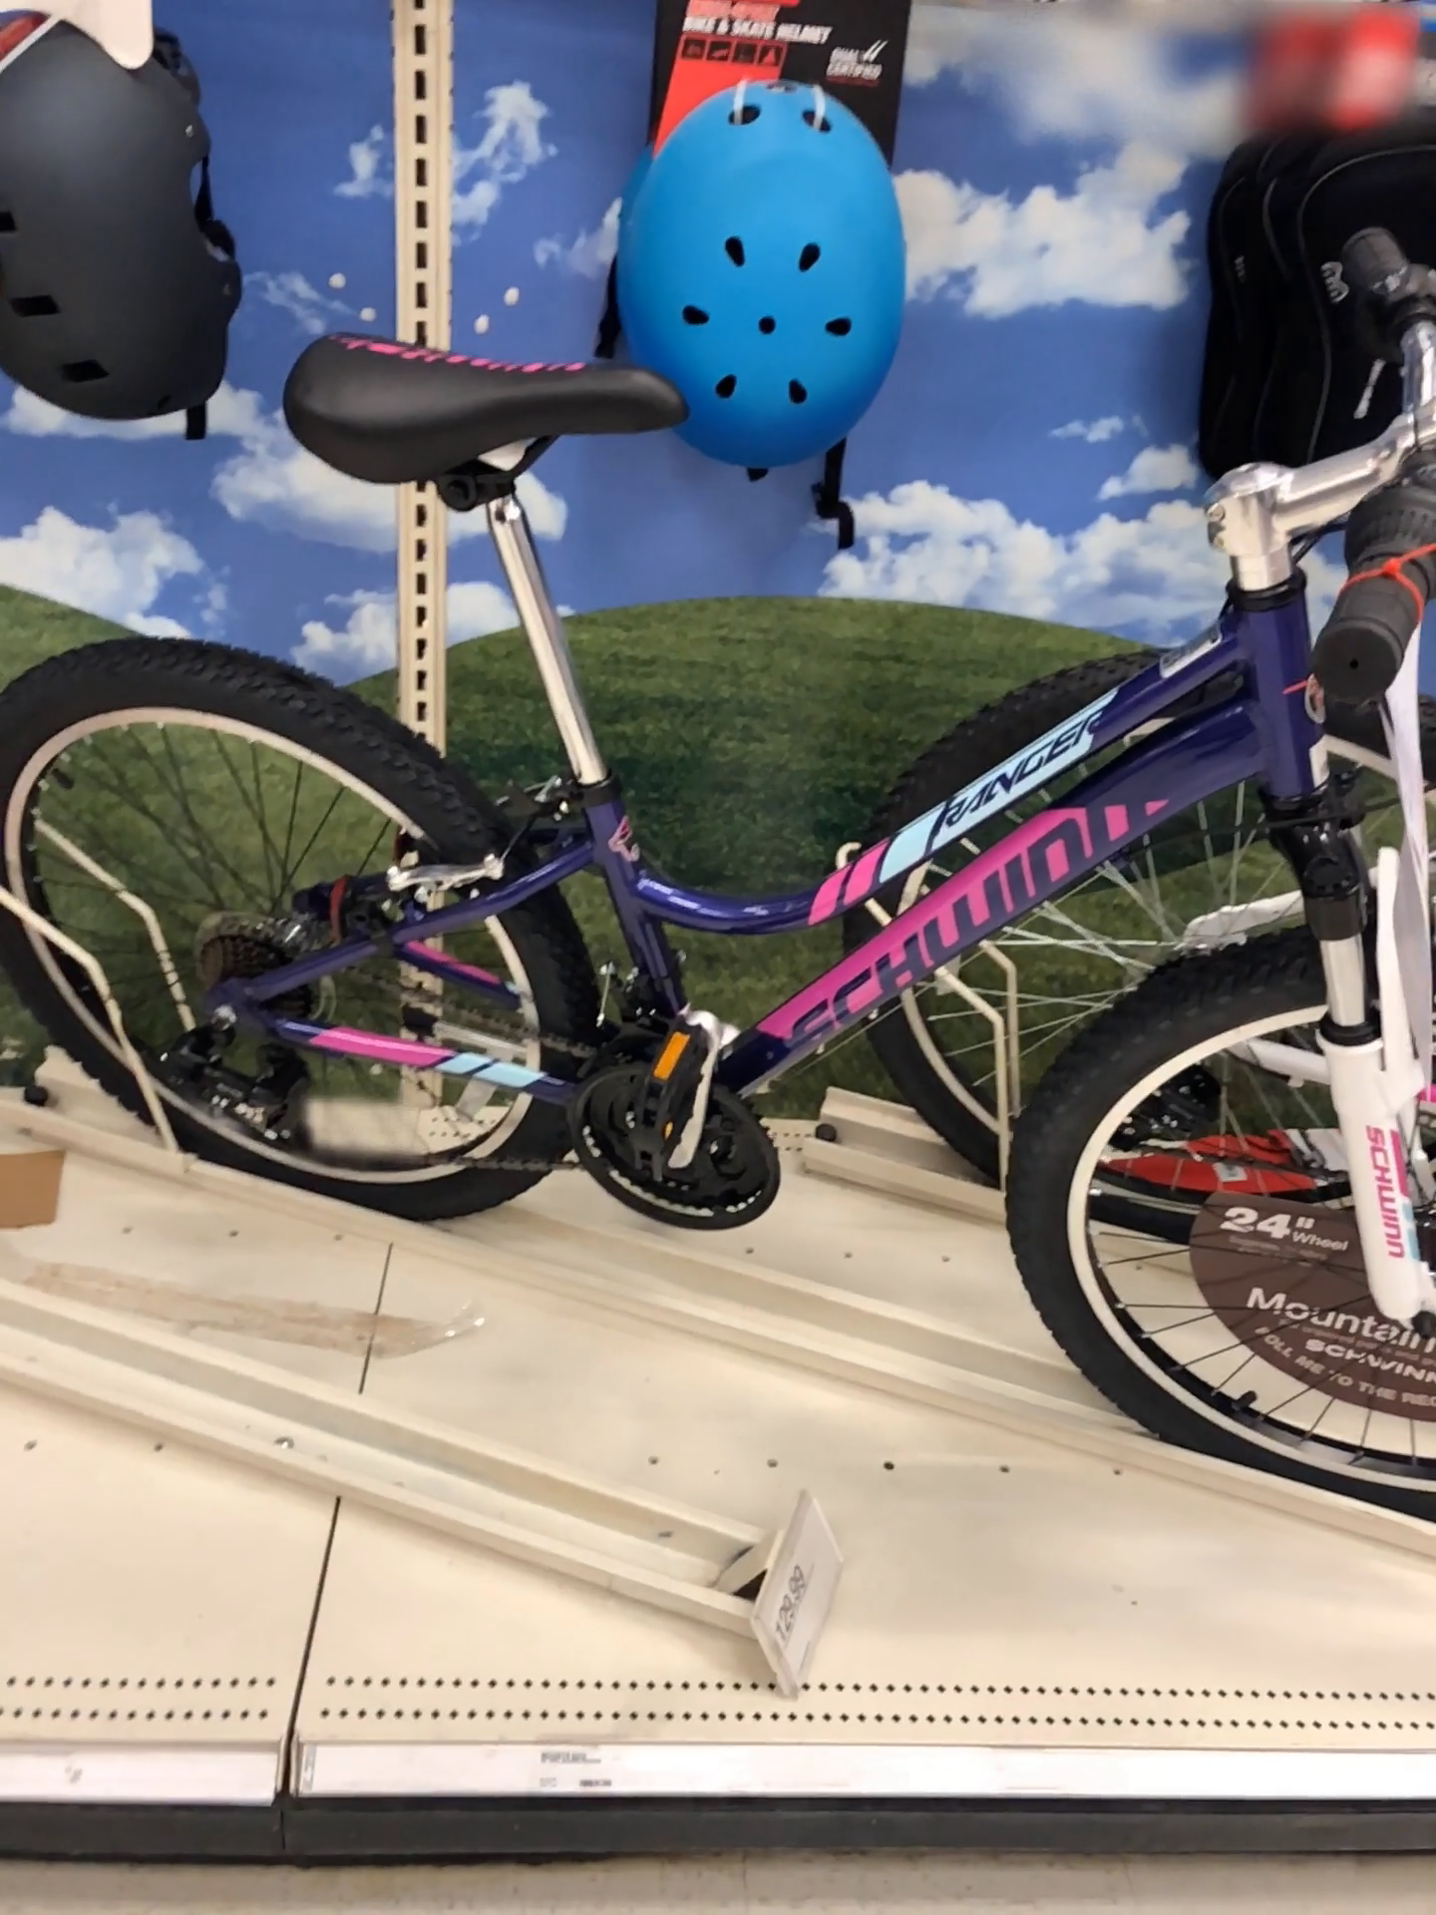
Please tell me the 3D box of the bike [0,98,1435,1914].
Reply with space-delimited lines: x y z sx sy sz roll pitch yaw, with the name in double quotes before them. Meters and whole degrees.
"bike" 0.178 -0.040 0.998 1.222 0.798 0.570 16 29 20
